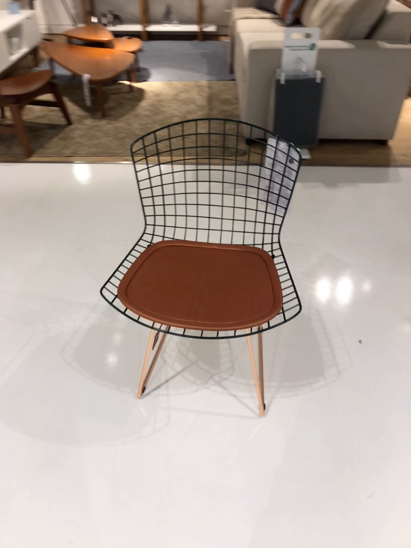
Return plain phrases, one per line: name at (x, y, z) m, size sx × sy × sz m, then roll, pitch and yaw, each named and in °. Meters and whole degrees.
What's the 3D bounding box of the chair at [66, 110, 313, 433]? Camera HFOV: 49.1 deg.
chair at (0.006, -0.007, 1.296) m, size 0.490 × 0.724 × 0.504 m, roll 6°, pitch 39°, yaw 8°
